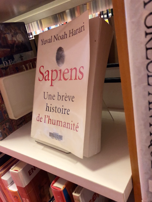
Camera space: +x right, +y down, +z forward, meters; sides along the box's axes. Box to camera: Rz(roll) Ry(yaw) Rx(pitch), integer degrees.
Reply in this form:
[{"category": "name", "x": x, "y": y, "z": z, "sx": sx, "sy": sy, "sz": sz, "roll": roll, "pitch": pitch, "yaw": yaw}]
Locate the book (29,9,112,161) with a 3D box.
[{"category": "book", "x": -0.023, "y": -0.030, "z": 0.349, "sx": 0.178, "sy": 0.244, "sz": 0.052, "roll": 5, "pitch": 3, "yaw": 45}]
